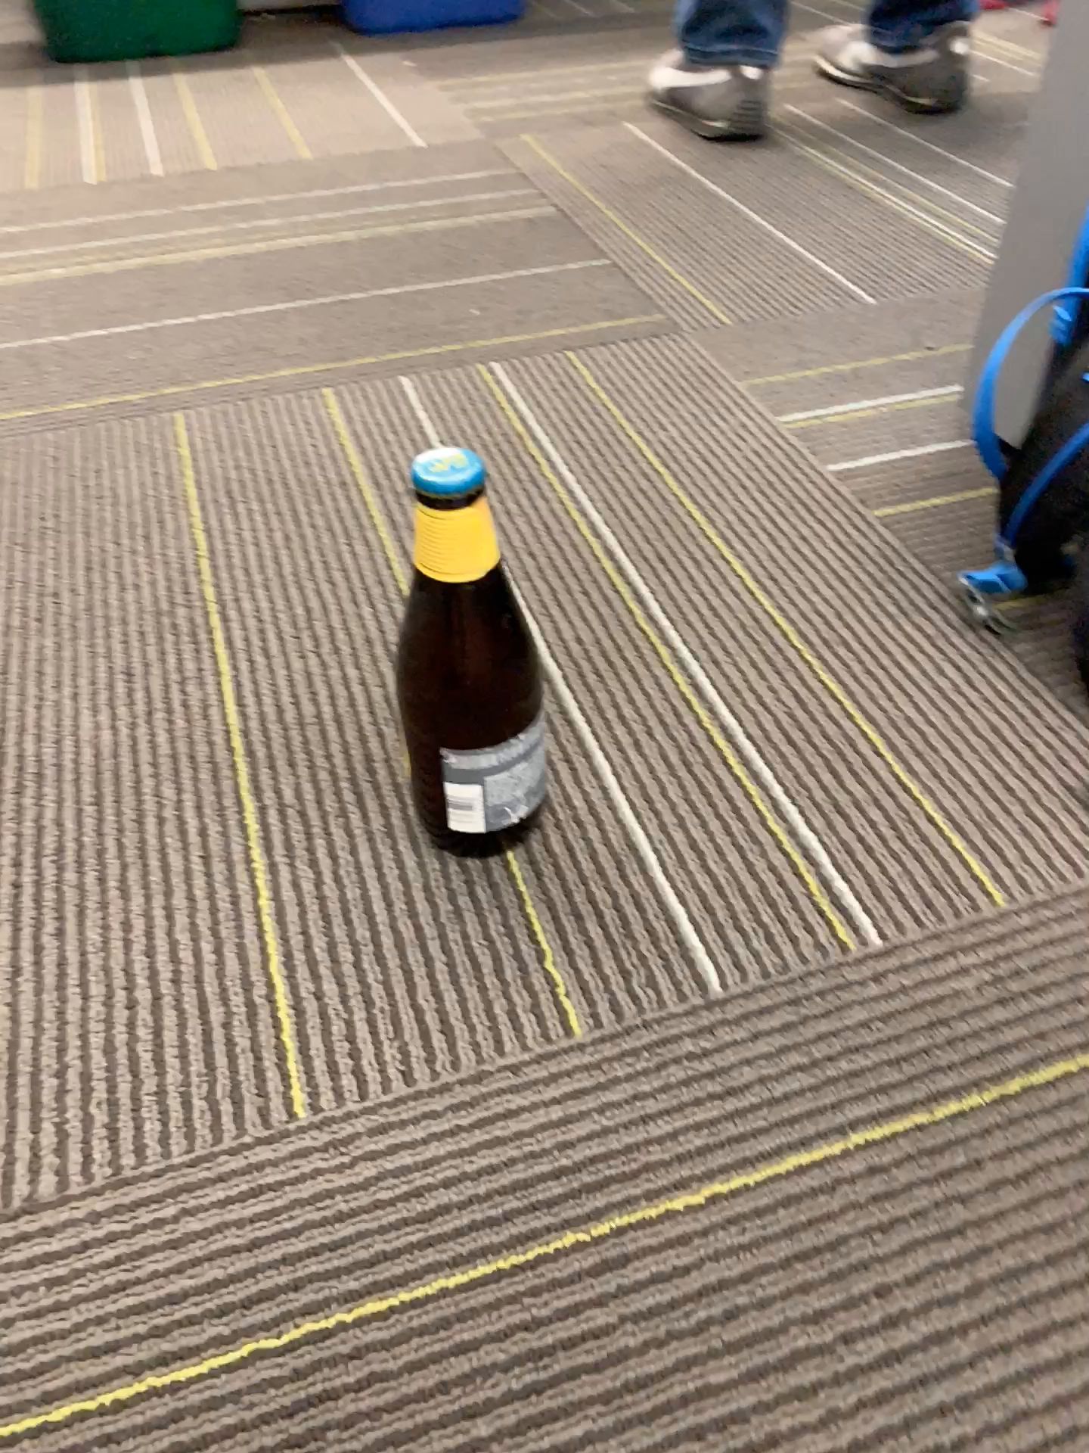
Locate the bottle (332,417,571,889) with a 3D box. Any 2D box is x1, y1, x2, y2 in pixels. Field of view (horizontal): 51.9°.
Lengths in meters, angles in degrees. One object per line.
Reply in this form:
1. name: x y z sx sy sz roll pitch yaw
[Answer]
1. bottle: -0.031 -0.024 0.456 0.060 0.179 0.060 -1 43 1
